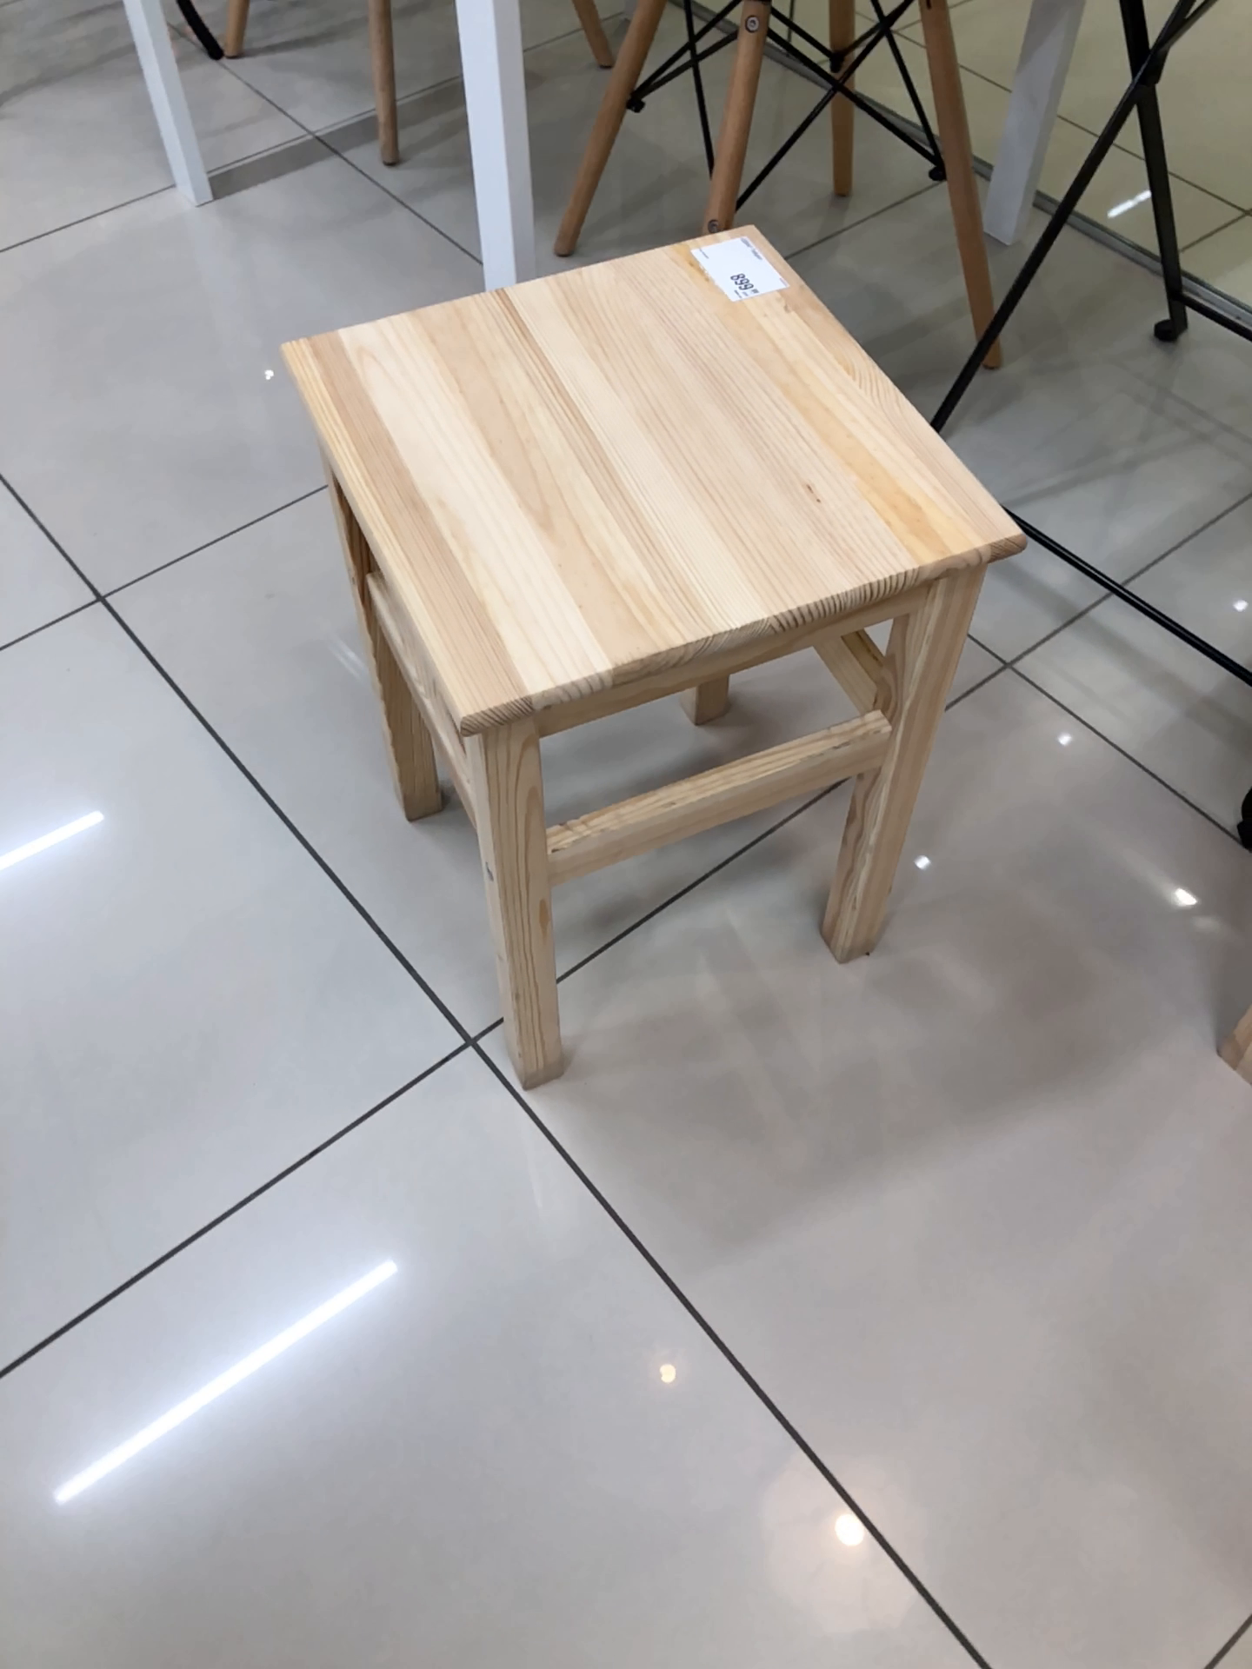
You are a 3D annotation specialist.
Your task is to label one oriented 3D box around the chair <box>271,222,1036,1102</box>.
[{"bbox_3d":[0.002,-0.104,0.927,0.320,0.408,0.328,-20,57,-13],"label":"chair"}]
